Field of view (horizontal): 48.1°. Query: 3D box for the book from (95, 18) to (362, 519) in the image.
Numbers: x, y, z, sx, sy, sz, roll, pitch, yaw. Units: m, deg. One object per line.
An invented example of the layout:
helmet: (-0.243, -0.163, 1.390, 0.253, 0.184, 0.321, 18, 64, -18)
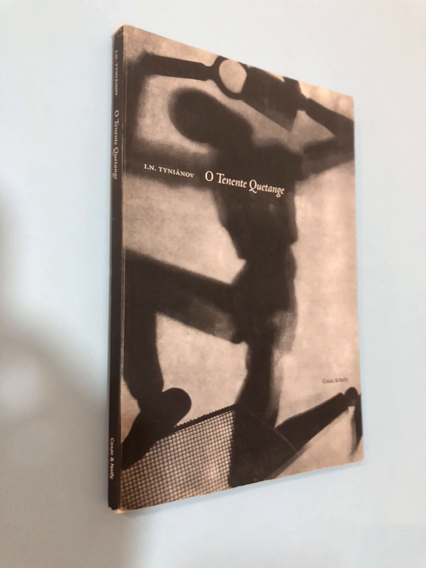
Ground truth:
book: (0.015, -0.007, 0.227, 0.135, 0.016, 0.196, 3, 84, -30)
